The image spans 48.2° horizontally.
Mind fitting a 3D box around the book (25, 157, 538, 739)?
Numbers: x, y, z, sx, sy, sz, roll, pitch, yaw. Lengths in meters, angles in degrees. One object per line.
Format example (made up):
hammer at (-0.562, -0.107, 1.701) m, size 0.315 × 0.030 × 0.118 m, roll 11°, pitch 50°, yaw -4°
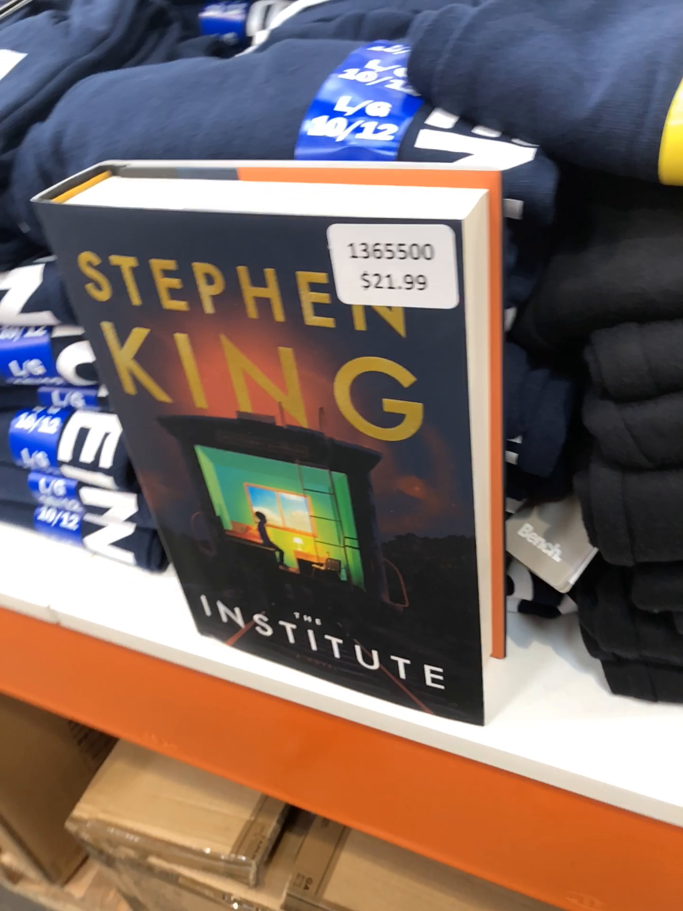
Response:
book at (-0.011, 0.002, 0.315) m, size 0.167 × 0.229 × 0.050 m, roll 11°, pitch 40°, yaw 25°
